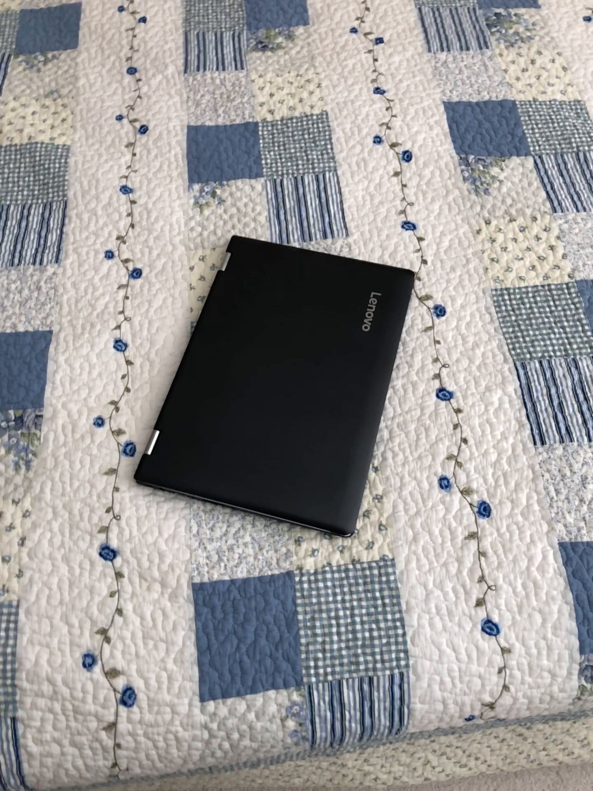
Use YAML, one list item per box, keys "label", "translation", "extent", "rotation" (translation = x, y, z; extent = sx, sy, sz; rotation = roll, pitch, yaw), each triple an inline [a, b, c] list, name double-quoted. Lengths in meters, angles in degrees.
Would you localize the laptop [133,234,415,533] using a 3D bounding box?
- label: "laptop"
  translation: [-0.012, -0.033, 0.705]
  extent: [0.223, 0.008, 0.321]
  rotation: [12, 63, 9]
